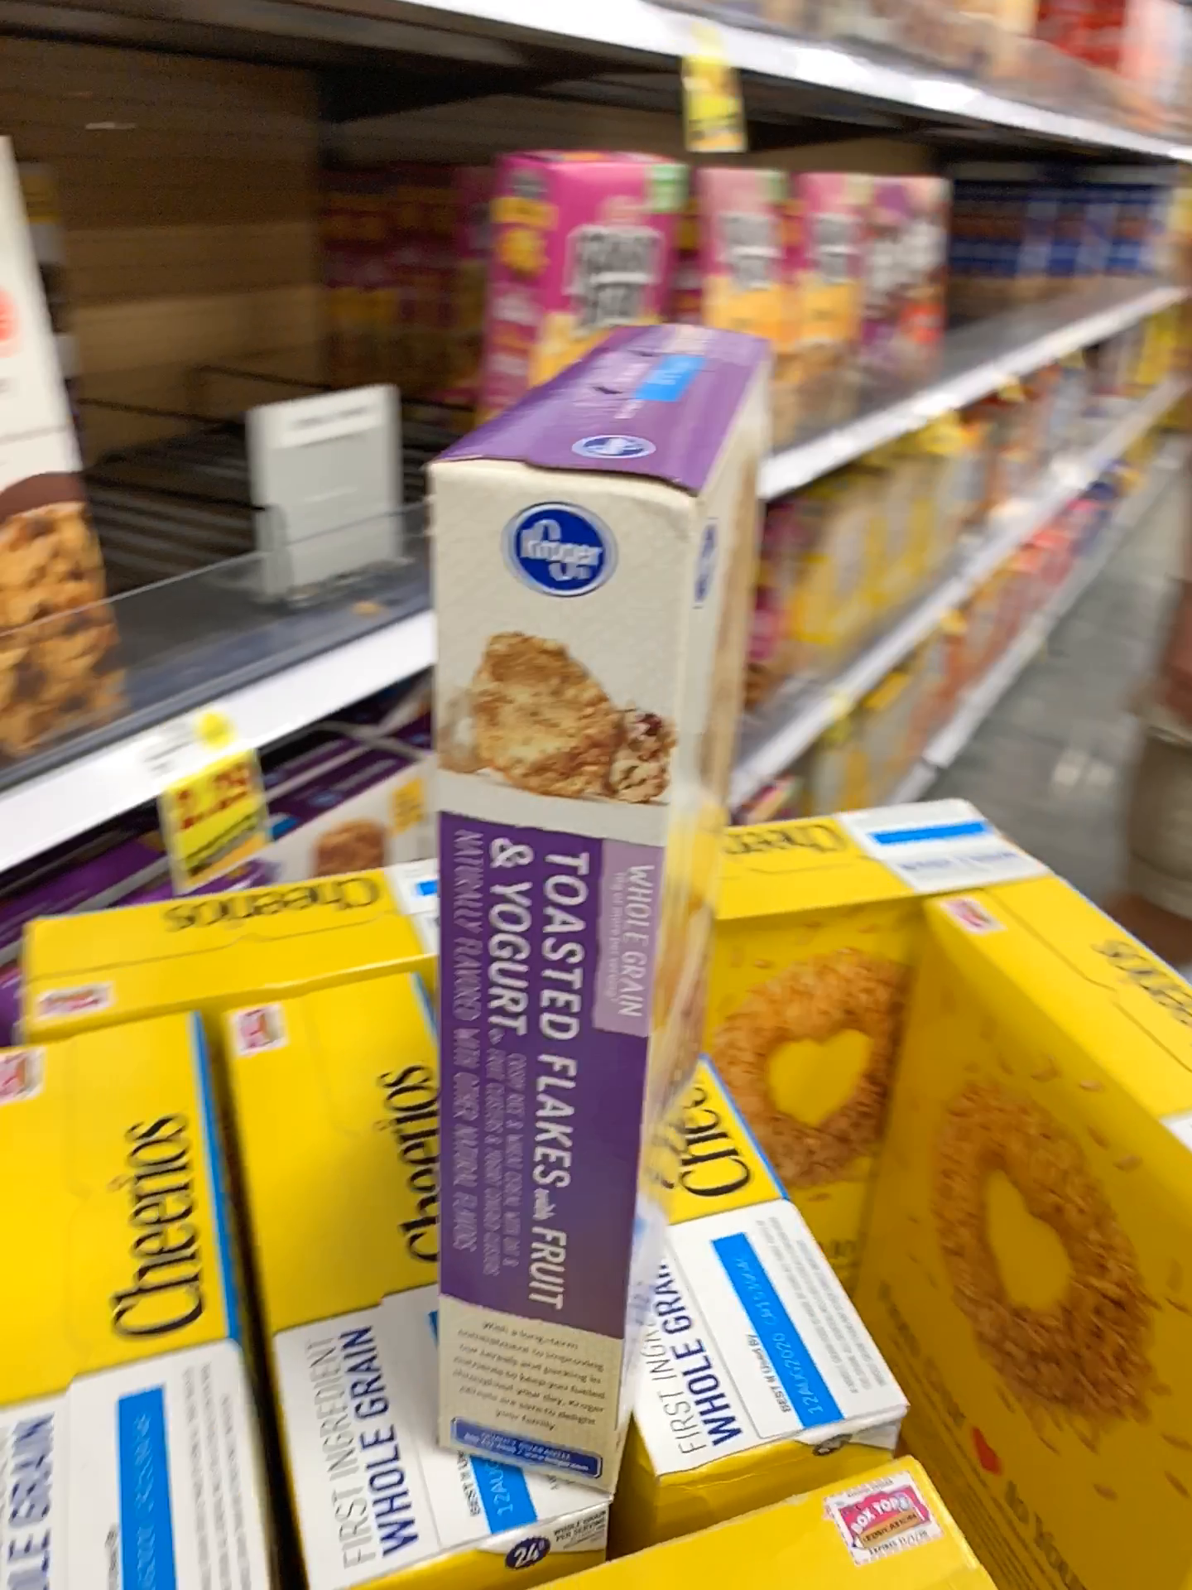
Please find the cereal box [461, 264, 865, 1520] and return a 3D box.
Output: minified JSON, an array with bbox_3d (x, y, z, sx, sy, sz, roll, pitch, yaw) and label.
[{"bbox_3d":[0.021,0.011,0.336,0.060,0.269,0.201,8,28,8],"label":"cereal box"}]
